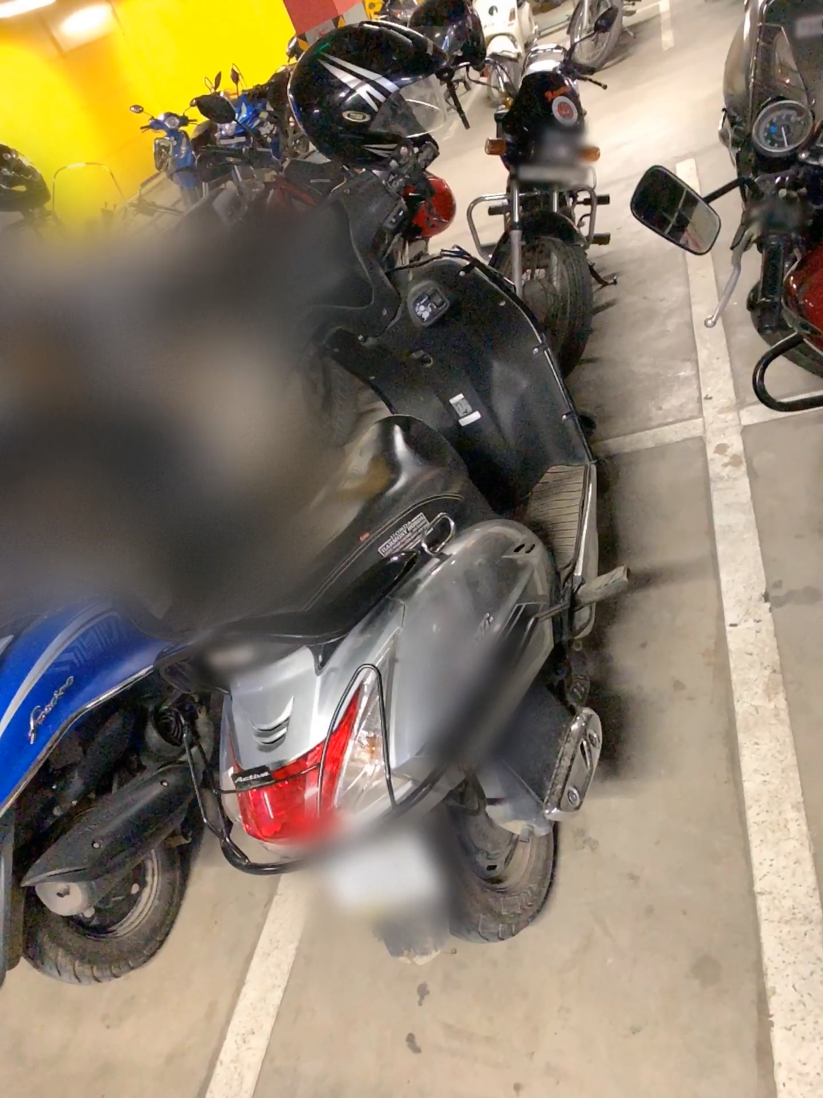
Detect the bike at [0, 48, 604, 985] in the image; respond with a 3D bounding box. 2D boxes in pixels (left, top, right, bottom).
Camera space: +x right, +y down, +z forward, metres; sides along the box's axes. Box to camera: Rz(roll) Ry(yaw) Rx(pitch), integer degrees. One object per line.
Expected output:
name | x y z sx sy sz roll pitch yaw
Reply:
bike | -0.078 -0.153 1.779 0.631 1.089 1.540 -13 38 21
